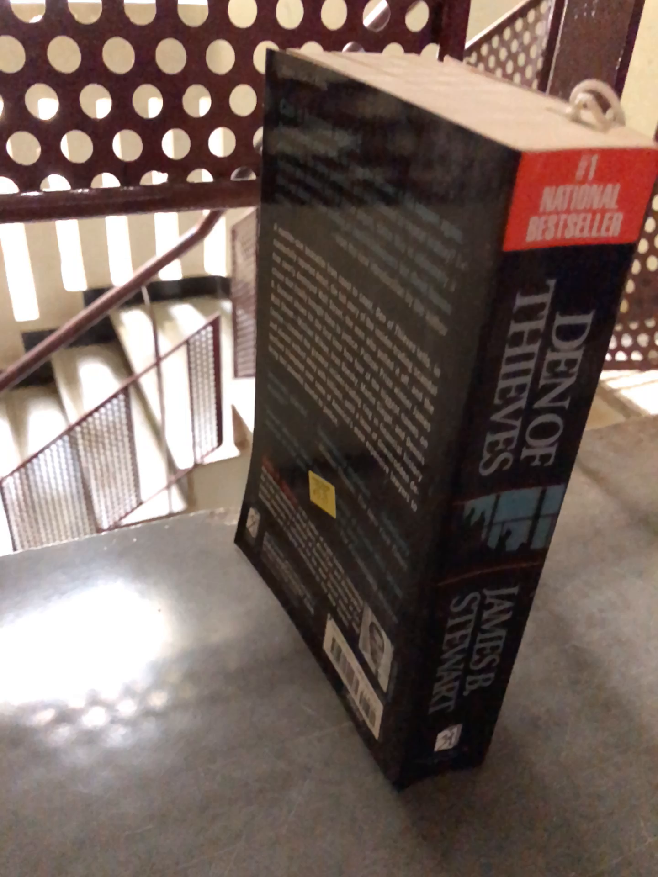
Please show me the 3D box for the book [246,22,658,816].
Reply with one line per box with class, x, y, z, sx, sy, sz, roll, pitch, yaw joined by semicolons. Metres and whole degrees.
book;0.017;-0.013;0.262;0.050;0.219;0.171;-9;35;-19
